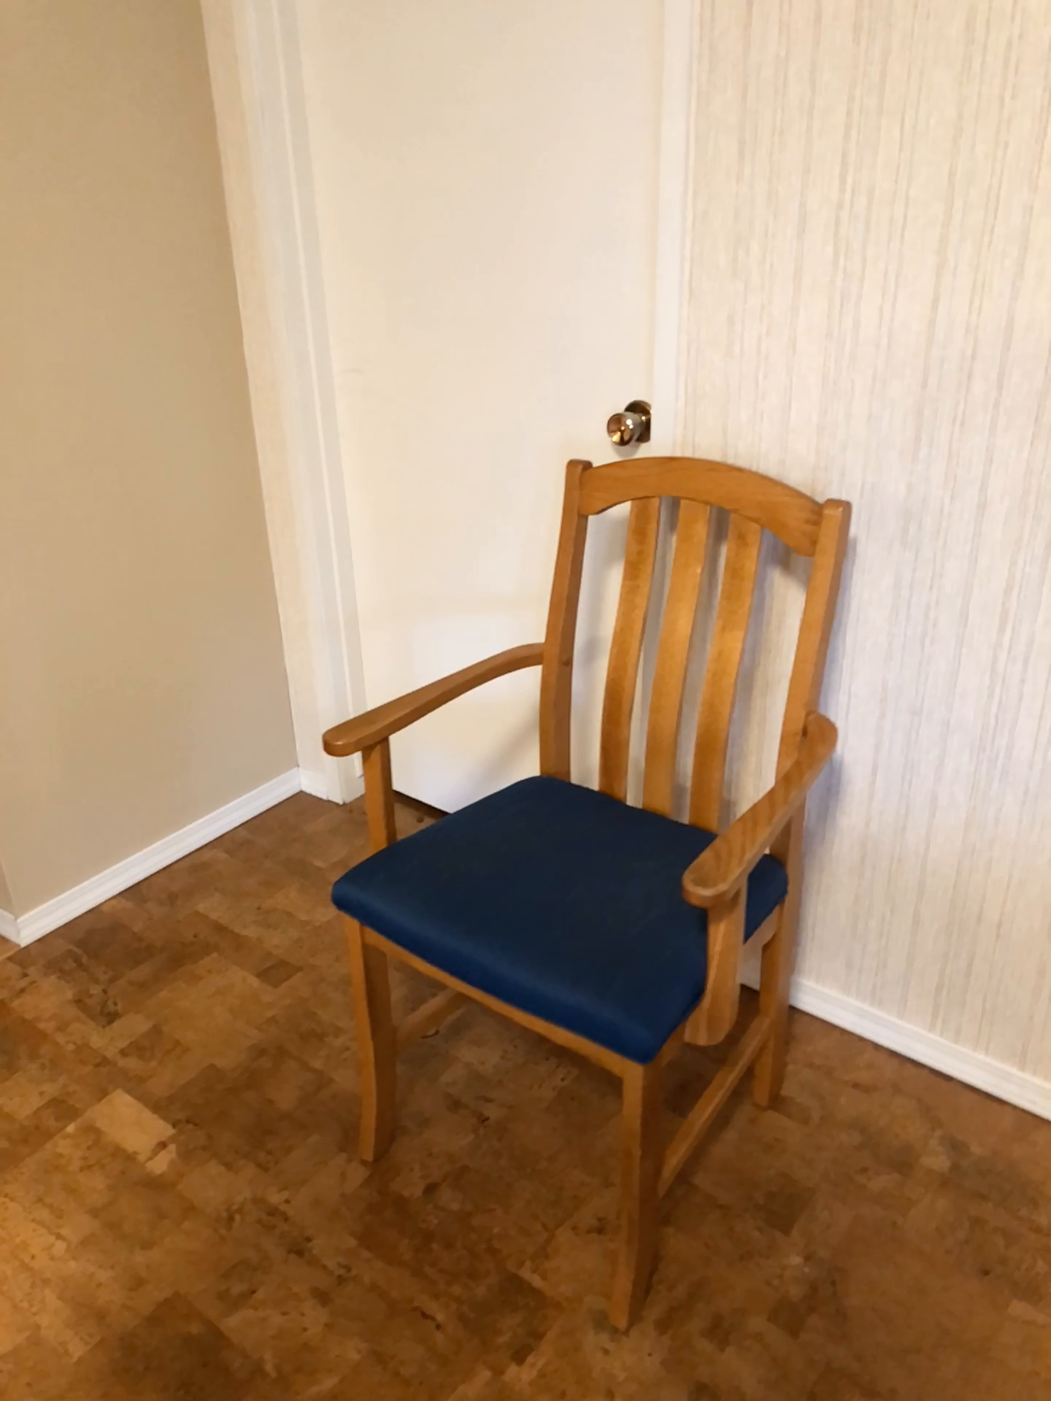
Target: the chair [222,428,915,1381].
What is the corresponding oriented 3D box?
[{"bbox_3d":[0.079,0.204,1.509,0.551,0.937,0.591,17,31,32],"label":"chair"}]
